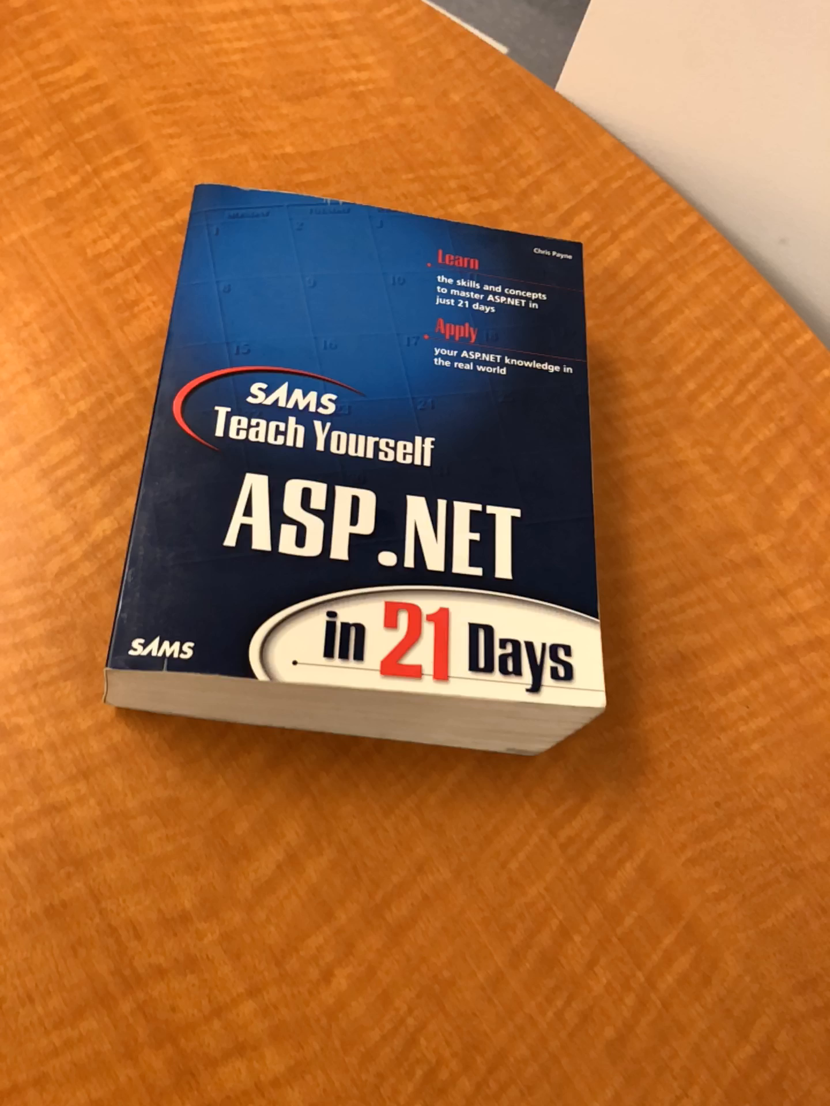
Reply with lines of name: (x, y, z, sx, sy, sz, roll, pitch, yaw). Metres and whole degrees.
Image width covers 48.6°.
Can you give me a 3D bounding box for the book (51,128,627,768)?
book: (-0.019, -0.046, 0.396, 0.200, 0.070, 0.241, 9, 65, -9)
